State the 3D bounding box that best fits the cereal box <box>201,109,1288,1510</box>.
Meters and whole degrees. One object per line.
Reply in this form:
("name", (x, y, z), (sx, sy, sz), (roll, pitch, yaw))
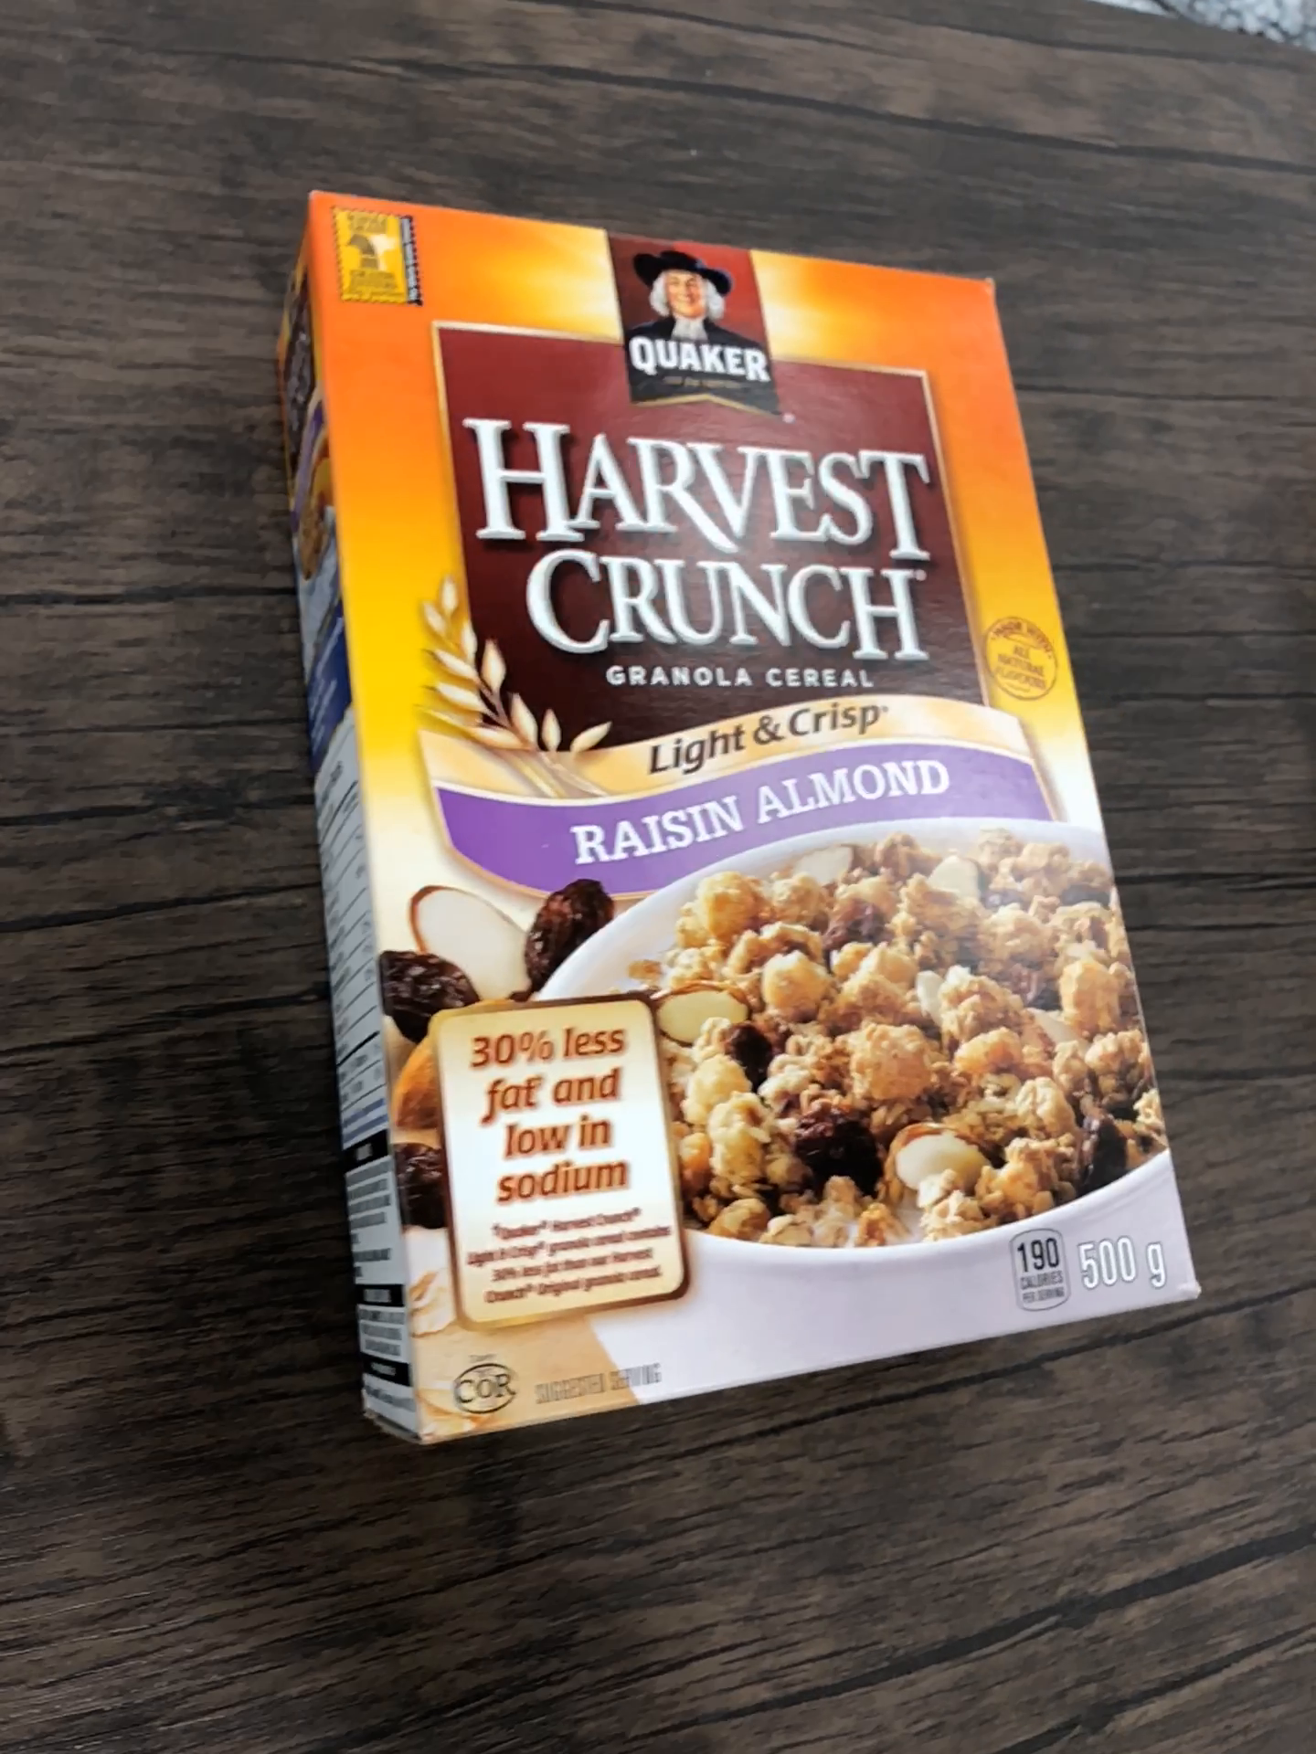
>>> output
("cereal box", (0.013, -0.019, 0.290), (0.180, 0.050, 0.230), (-2, 77, -23))
